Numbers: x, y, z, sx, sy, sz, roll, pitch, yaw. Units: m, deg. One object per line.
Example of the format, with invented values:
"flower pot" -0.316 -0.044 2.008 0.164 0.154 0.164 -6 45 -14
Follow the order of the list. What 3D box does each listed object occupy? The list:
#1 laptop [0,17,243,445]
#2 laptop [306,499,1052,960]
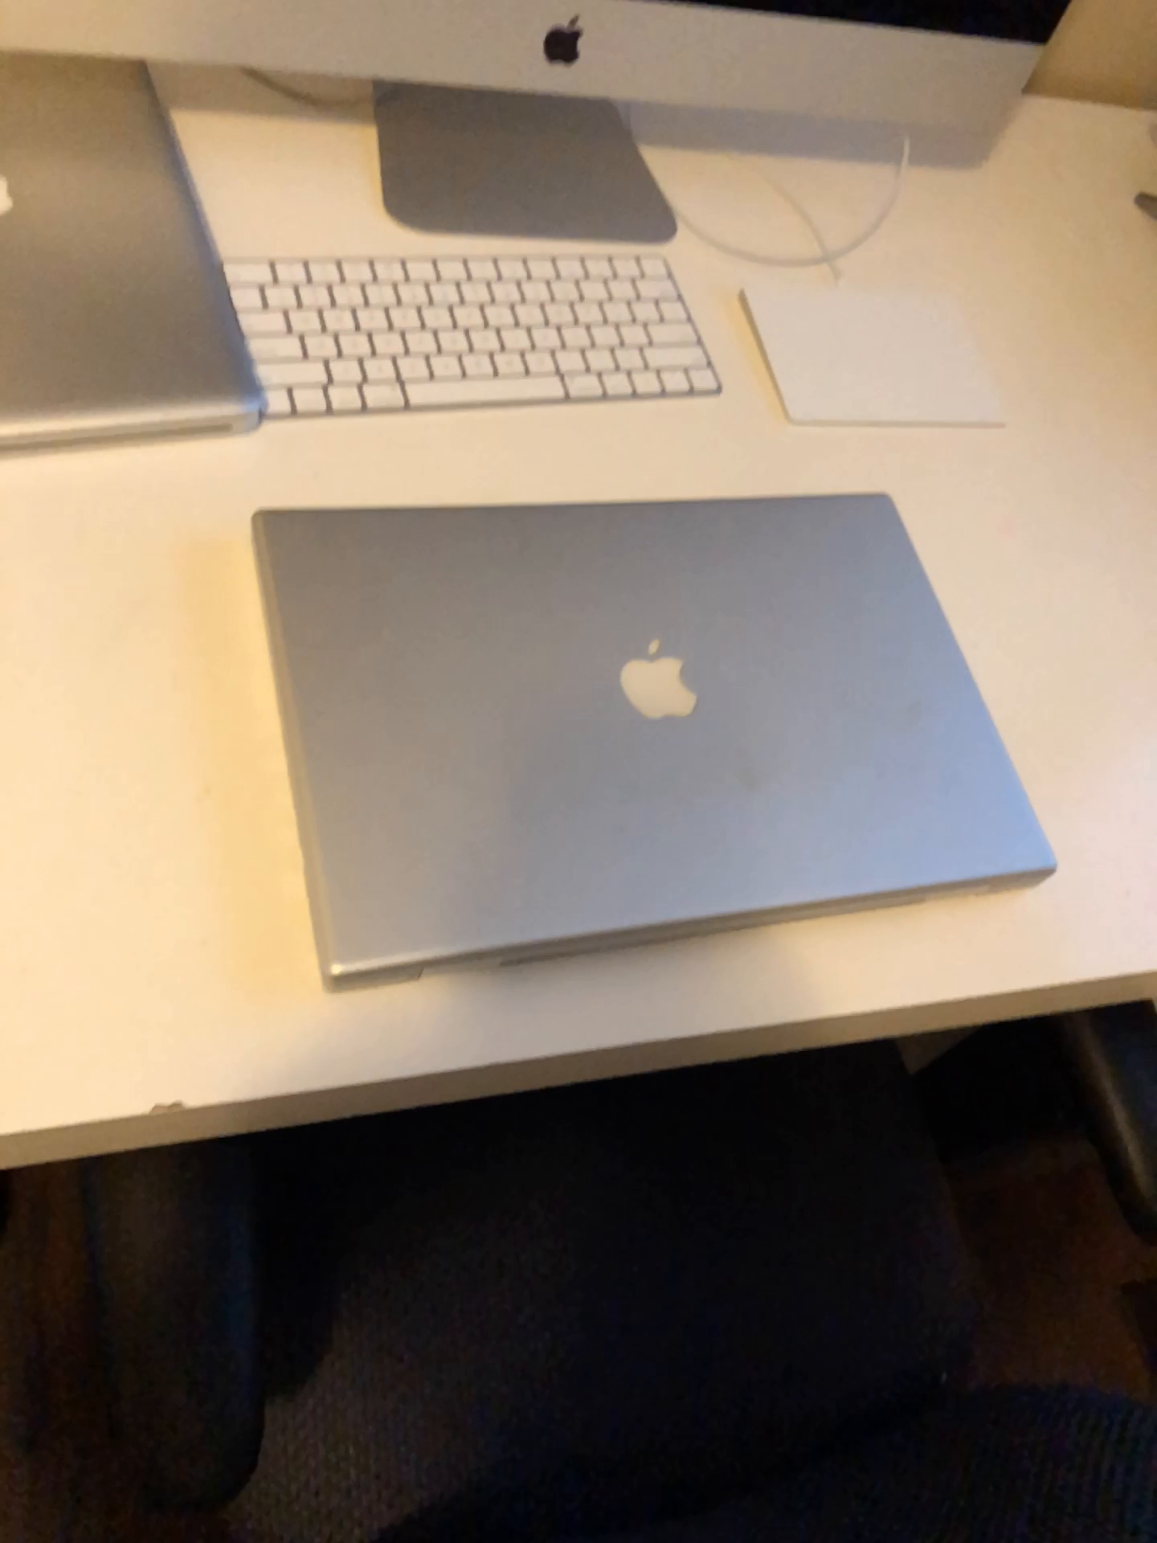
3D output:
"laptop" -0.295 -0.291 0.651 0.201 0.009 0.279 -10 66 -25
"laptop" 0.050 -0.038 0.607 0.333 0.005 0.215 -6 64 -20
